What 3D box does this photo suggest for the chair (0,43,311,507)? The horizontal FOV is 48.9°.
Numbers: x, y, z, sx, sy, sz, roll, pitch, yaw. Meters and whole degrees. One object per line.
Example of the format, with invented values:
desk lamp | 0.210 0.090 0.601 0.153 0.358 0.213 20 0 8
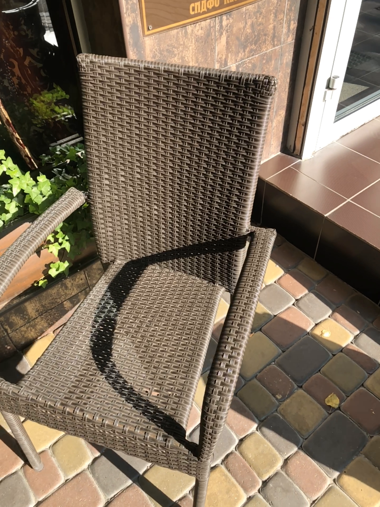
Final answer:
chair | -0.112 0.111 0.919 0.520 0.847 0.582 13 48 14
